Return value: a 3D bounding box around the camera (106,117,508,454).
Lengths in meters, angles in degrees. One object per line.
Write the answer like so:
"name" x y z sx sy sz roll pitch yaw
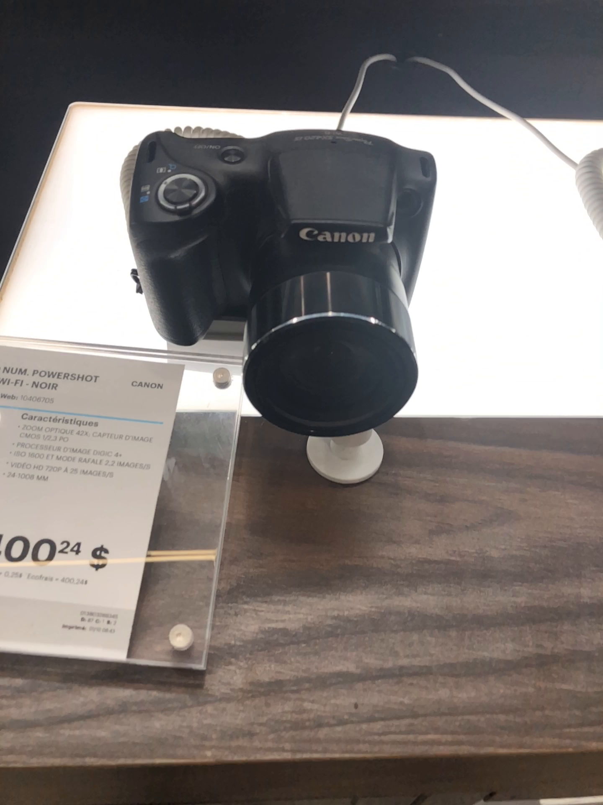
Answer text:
"camera" -0.002 -0.040 0.224 0.102 0.074 0.081 -2 50 -5
